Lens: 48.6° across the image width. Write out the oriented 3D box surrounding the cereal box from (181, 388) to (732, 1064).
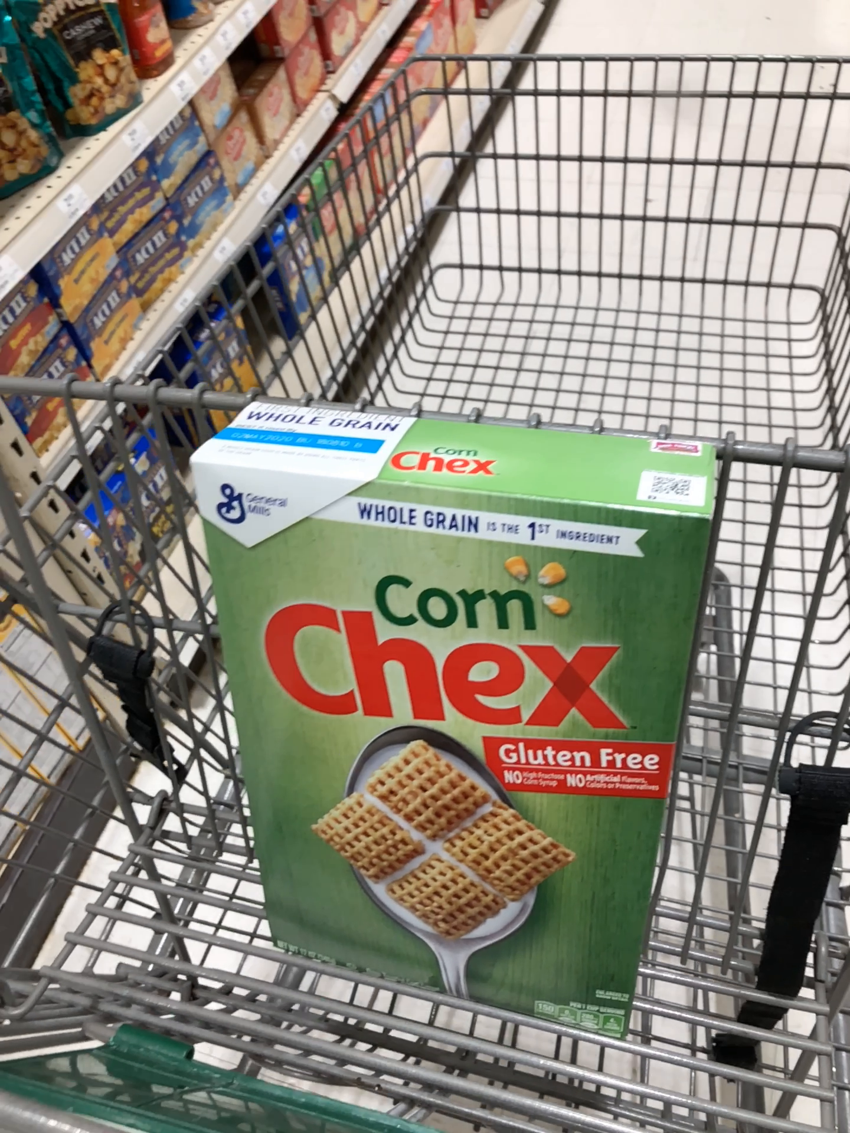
[{"bbox_3d":[0.014,0.084,0.436,0.200,0.310,0.060,8,32,15],"label":"cereal box"}]
